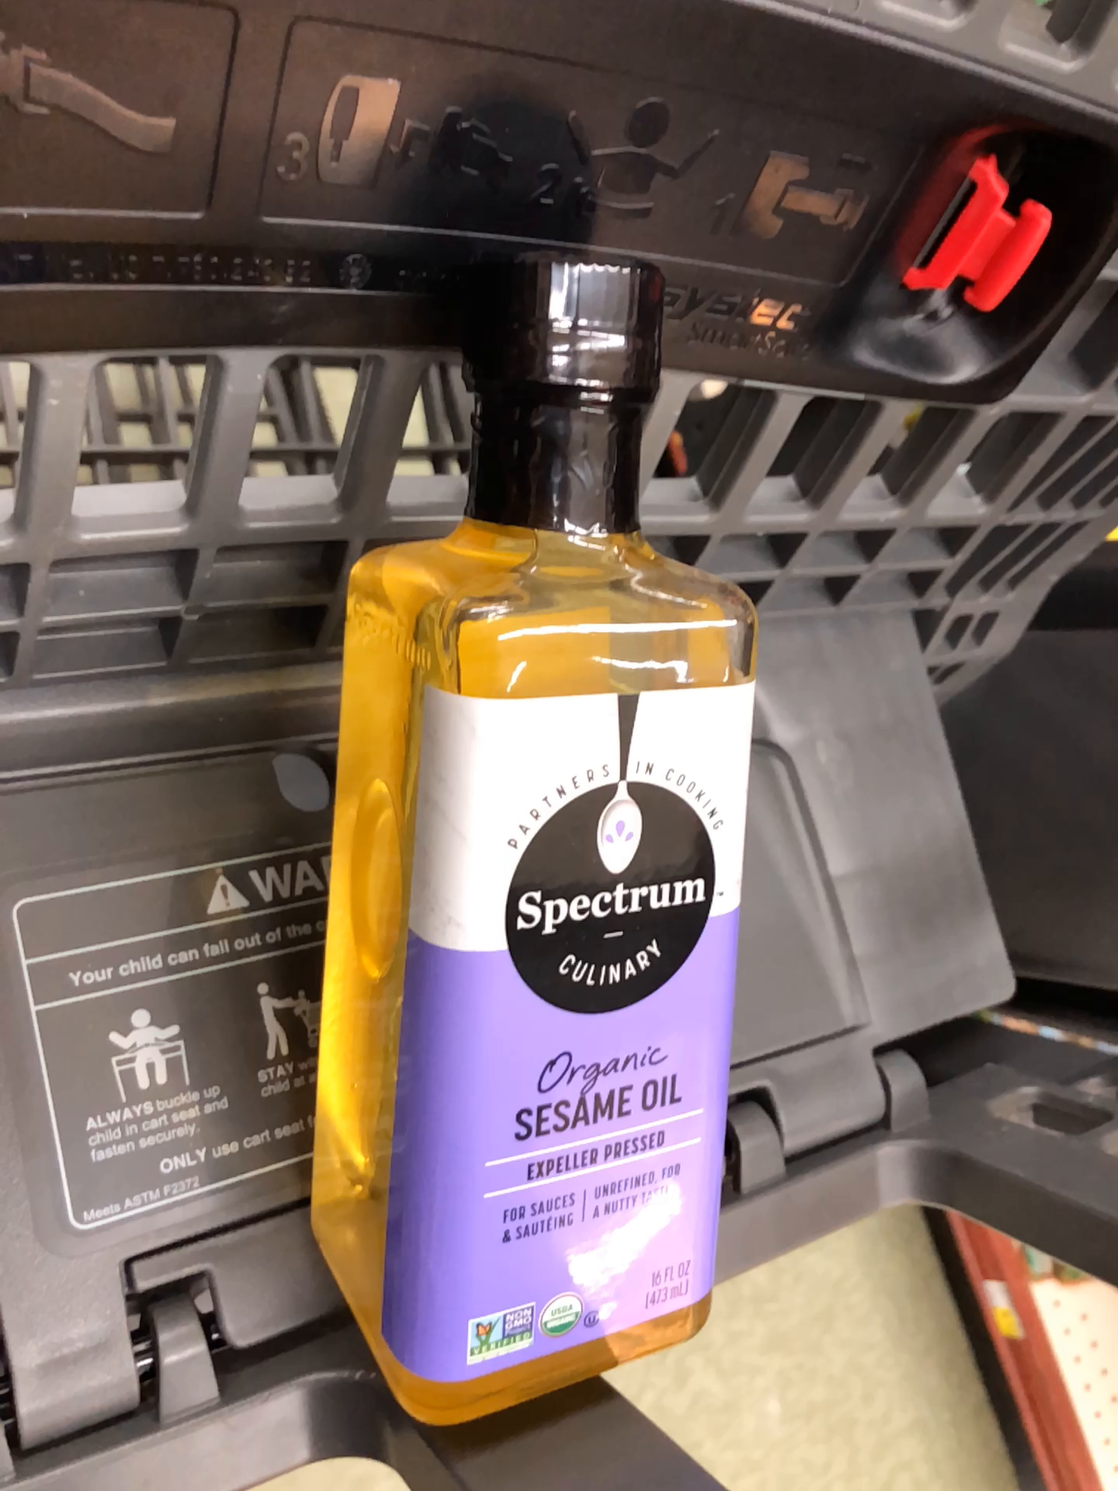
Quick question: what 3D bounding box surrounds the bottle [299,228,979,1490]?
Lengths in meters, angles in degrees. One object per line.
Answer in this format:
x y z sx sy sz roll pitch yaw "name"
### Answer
0.005 0.019 0.230 0.080 0.065 0.200 -5 110 -30 "bottle"
